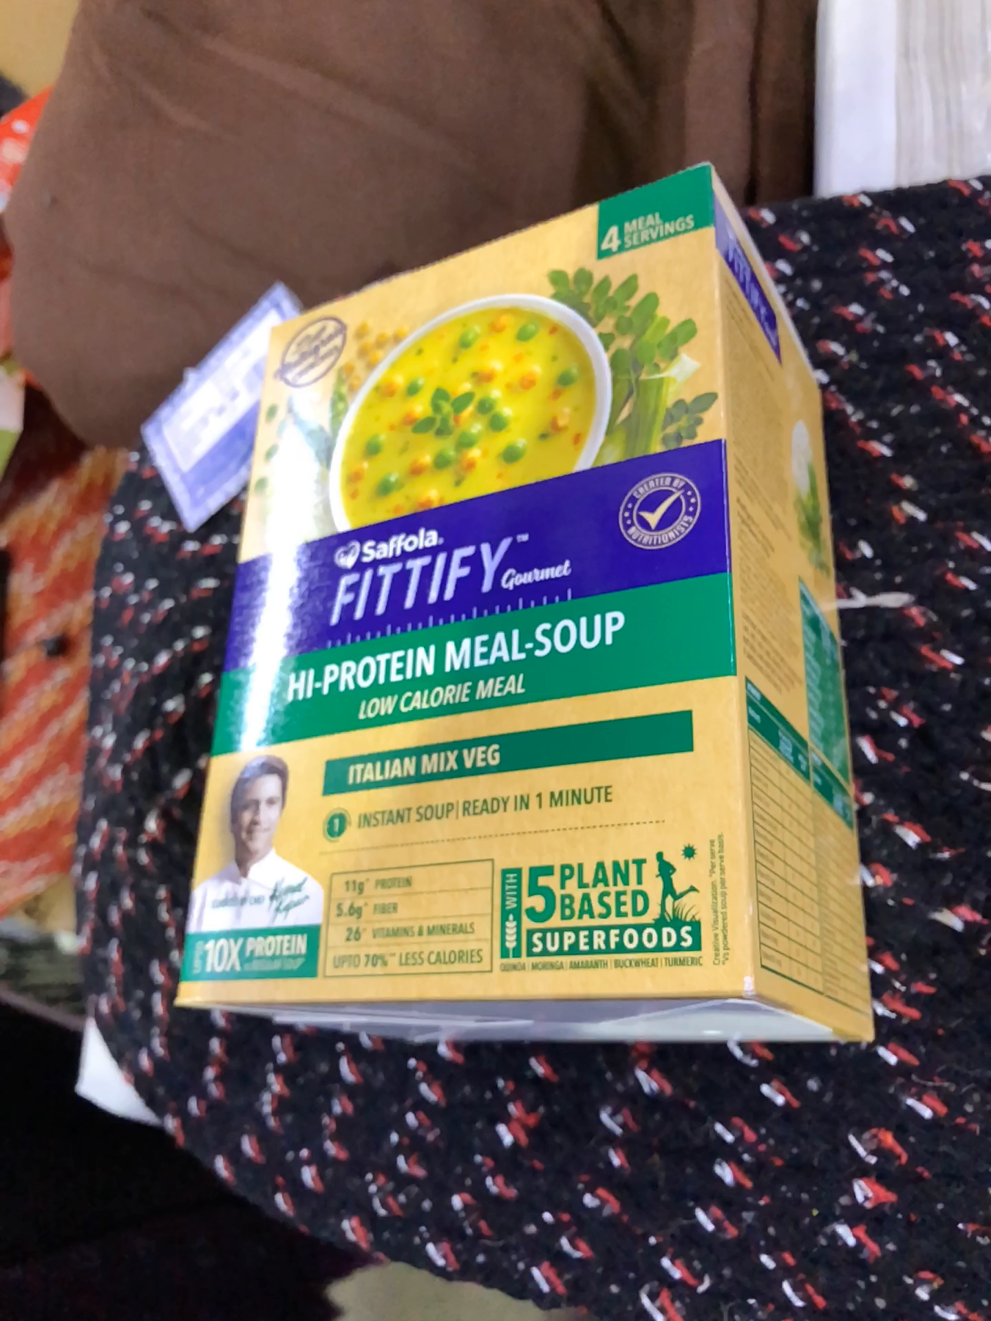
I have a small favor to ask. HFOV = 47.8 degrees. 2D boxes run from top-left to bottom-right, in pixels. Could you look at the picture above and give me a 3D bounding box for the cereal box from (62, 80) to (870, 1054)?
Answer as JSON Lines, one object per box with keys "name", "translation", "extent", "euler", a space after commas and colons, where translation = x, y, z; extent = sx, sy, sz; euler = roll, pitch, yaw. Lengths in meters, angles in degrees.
{"name": "cereal box", "translation": [-0.001, -0.009, 0.243], "extent": [0.130, 0.080, 0.170], "euler": [-9, 65, 28]}
